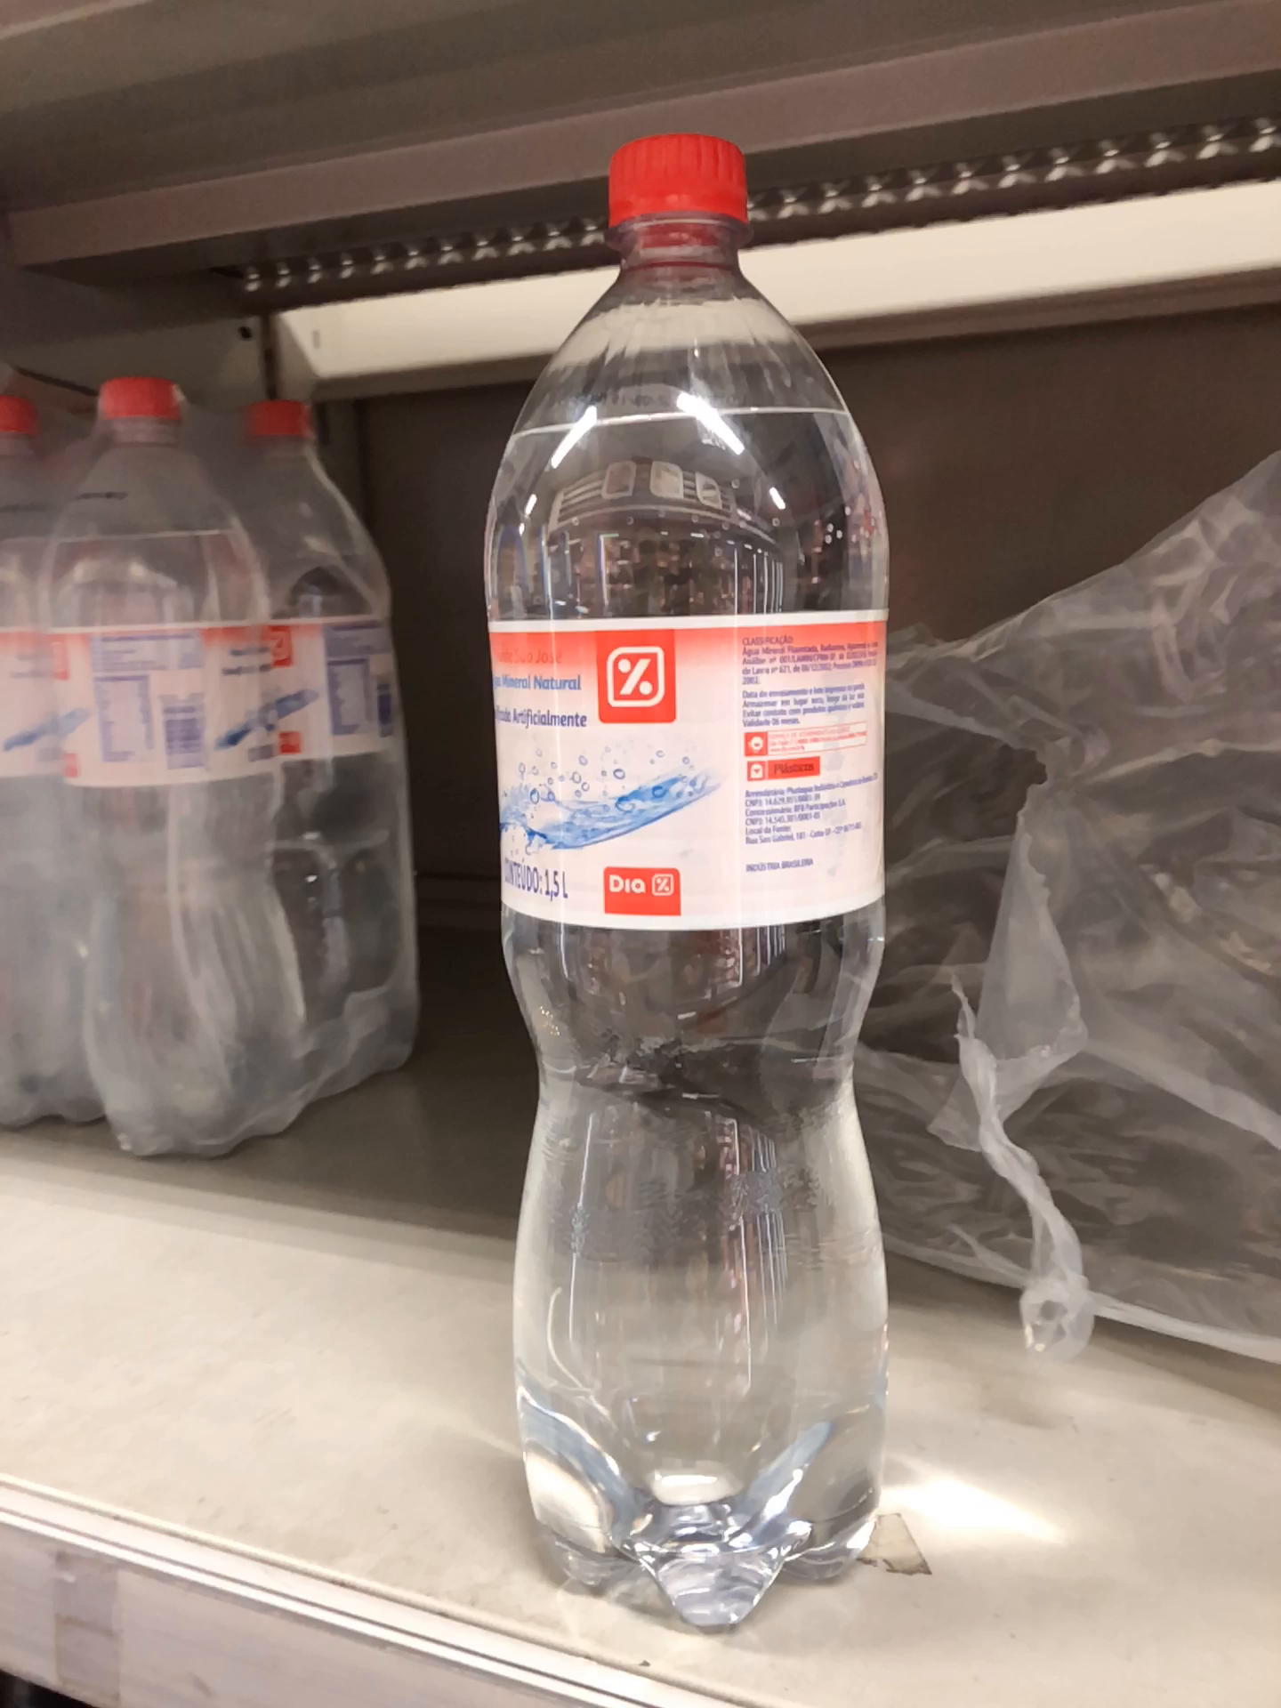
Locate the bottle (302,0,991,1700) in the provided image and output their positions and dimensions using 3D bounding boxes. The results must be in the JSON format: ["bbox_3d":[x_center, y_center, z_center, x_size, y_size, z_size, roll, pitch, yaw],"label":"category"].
[{"bbox_3d":[0.006,0.000,0.327,0.100,0.319,0.100,-3,11,1],"label":"bottle"}]
